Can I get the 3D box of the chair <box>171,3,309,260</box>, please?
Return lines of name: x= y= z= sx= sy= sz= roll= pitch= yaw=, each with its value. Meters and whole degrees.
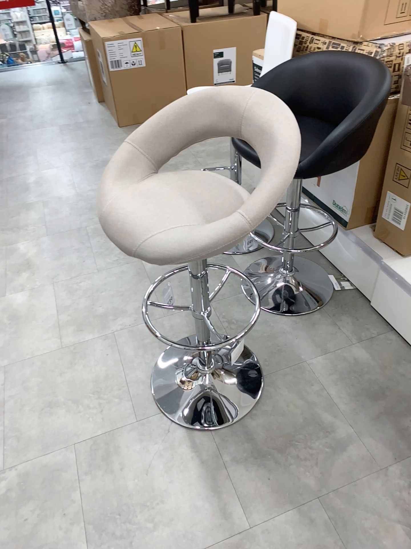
chair: x=0.136 y=-0.653 z=2.011 sx=0.484 sy=1.007 sz=0.539 roll=-5 pitch=39 yaw=-1

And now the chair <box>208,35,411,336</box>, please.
chair: x=0.363 y=-0.333 z=1.642 sx=0.484 sy=0.938 sz=0.498 roll=-21 pitch=42 yaw=-19

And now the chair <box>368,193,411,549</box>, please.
chair: x=0.778 y=0.408 z=0.792 sx=0.574 sy=0.908 sz=0.539 roll=-5 pitch=39 yaw=-1

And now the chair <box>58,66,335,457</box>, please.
chair: x=-0.024 y=-0.009 z=1.265 sx=0.464 sy=0.978 sz=0.488 roll=-21 pitch=42 yaw=-19
